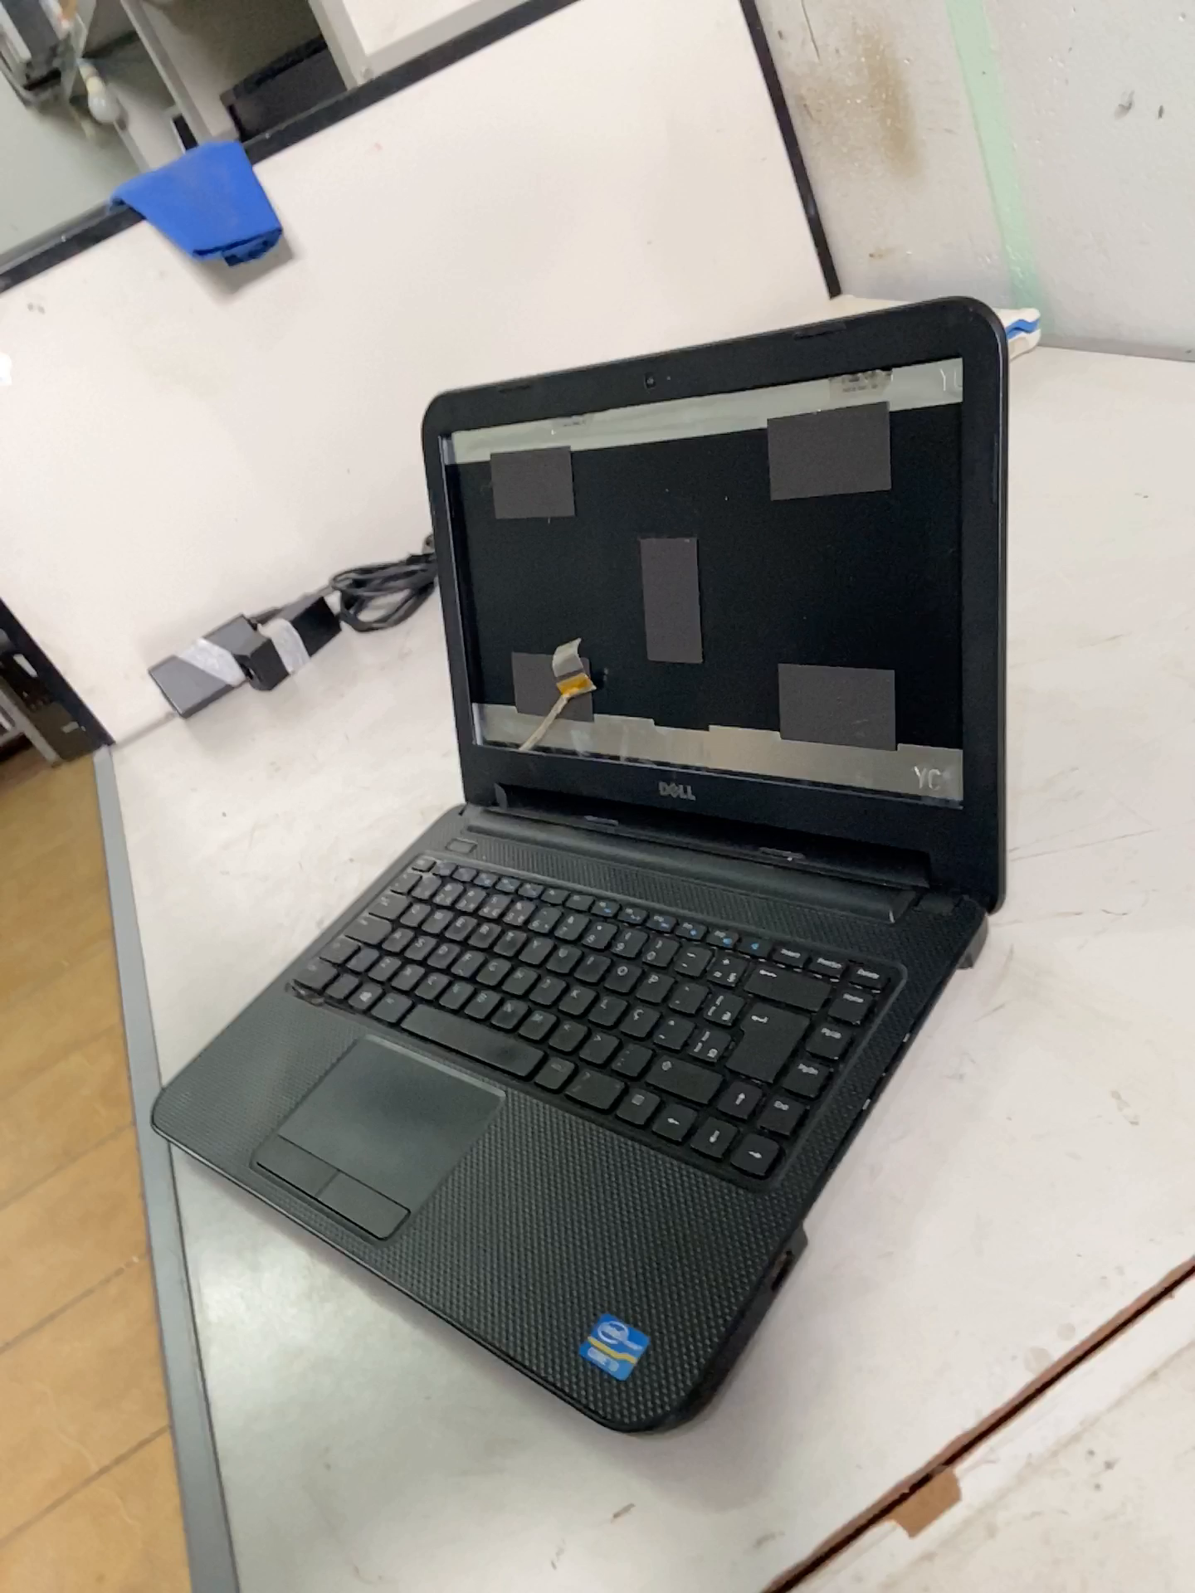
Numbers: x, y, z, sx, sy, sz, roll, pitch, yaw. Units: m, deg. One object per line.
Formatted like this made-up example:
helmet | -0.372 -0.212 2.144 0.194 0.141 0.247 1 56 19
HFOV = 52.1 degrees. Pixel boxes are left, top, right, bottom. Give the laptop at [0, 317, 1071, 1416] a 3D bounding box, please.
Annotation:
laptop | -0.043 -0.010 0.514 0.320 0.193 0.336 8 45 44
